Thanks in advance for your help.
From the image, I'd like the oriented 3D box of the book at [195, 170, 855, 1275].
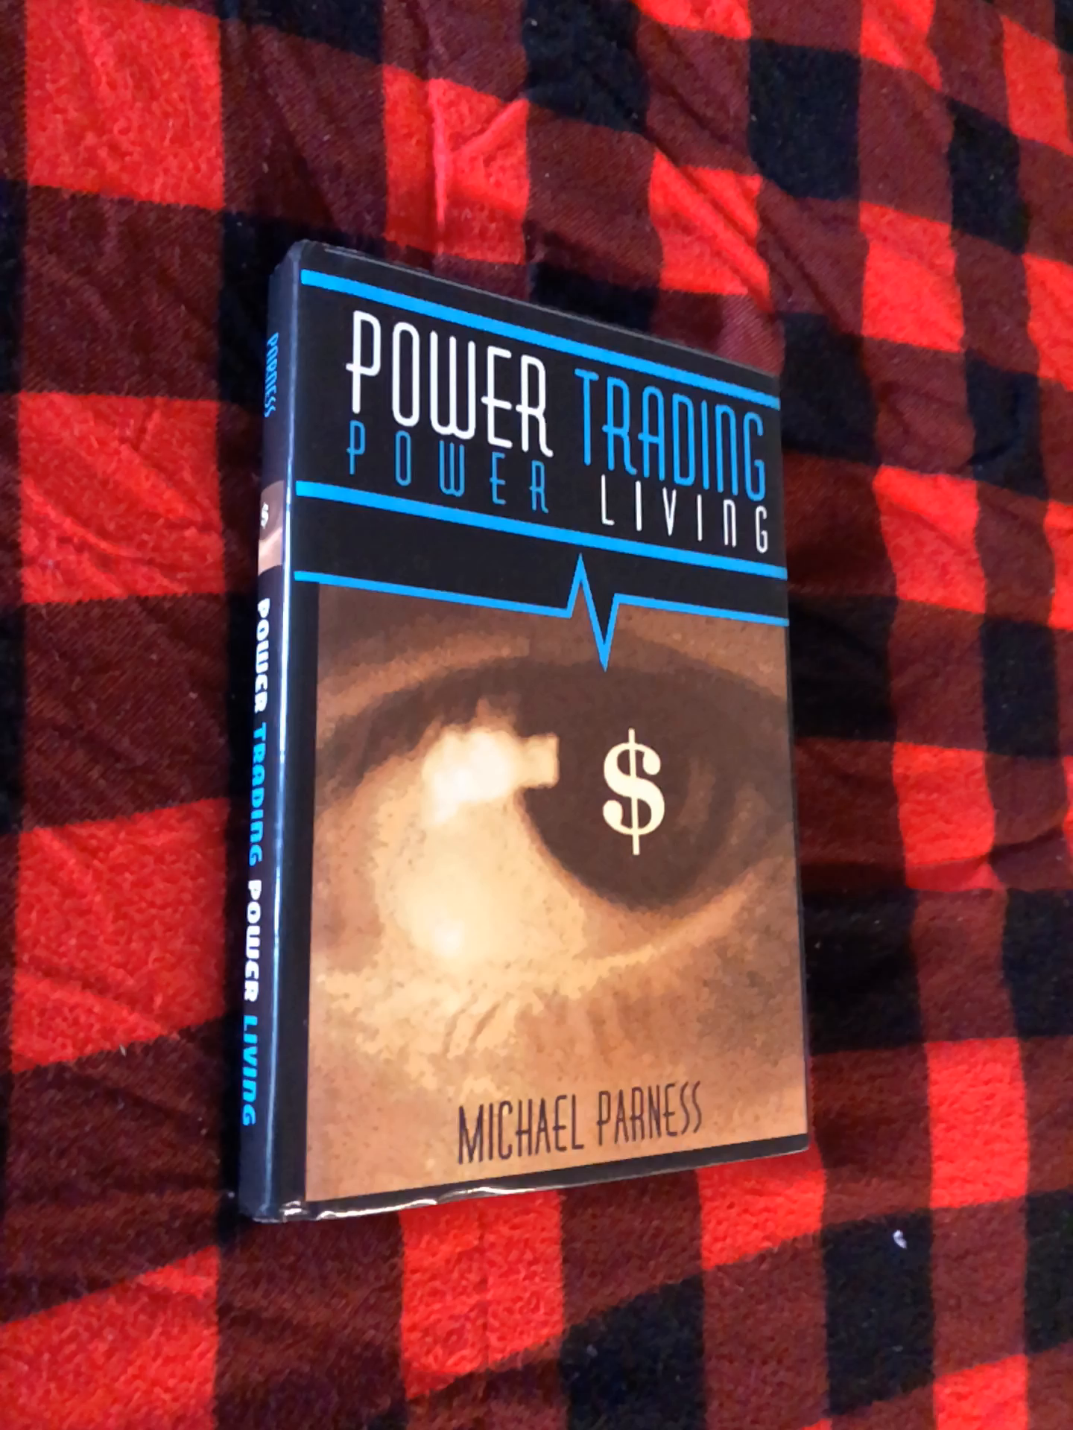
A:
[{"bbox_3d":[0.006,0.003,0.315,0.171,0.040,0.240,5,81,-31],"label":"book"}]
